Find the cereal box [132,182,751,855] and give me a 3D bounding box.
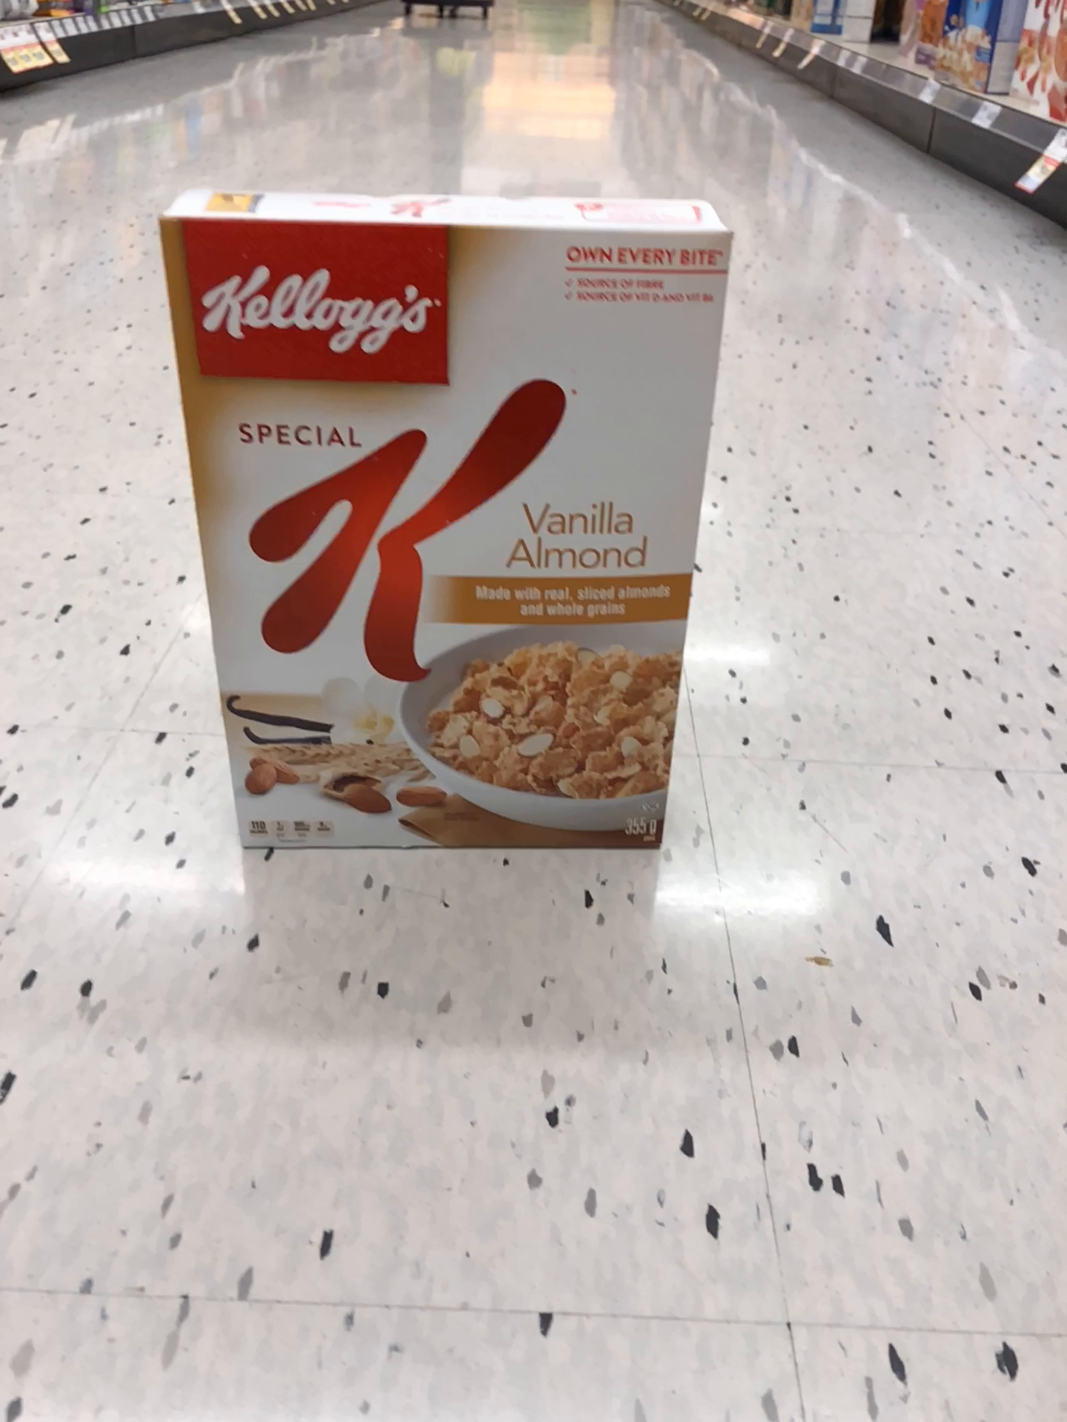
[{"bbox_3d":[-0.035,-0.062,0.468,0.200,0.258,0.050,1,30,-3],"label":"cereal box"}]
